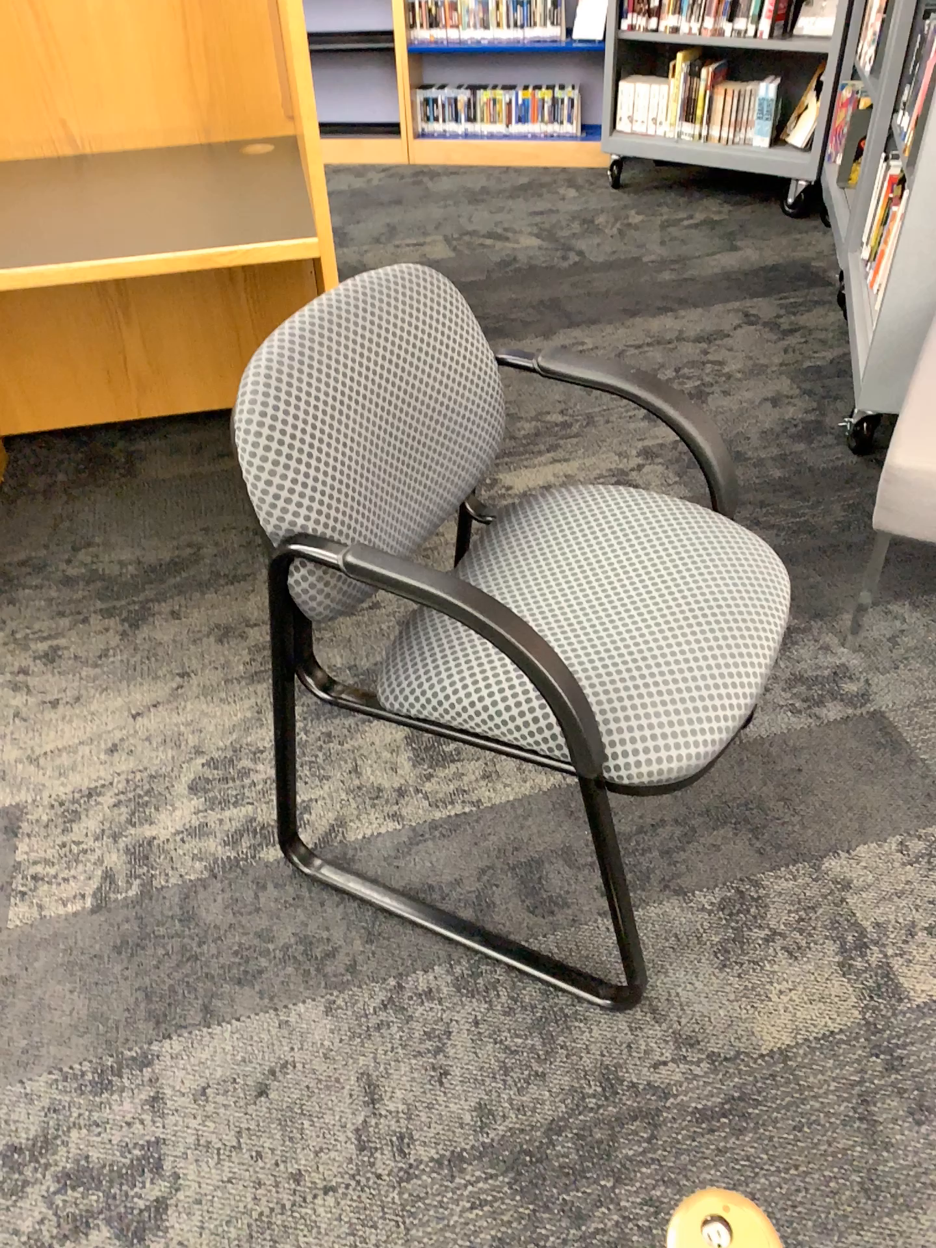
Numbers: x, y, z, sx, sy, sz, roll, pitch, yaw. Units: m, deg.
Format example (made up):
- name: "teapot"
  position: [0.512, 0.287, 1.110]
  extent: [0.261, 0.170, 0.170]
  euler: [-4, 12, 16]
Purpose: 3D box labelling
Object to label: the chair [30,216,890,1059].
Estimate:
- name: "chair"
  position: [0.054, -0.053, 1.298]
  extent: [0.721, 0.677, 0.732]
  euler: [17, 44, 22]
